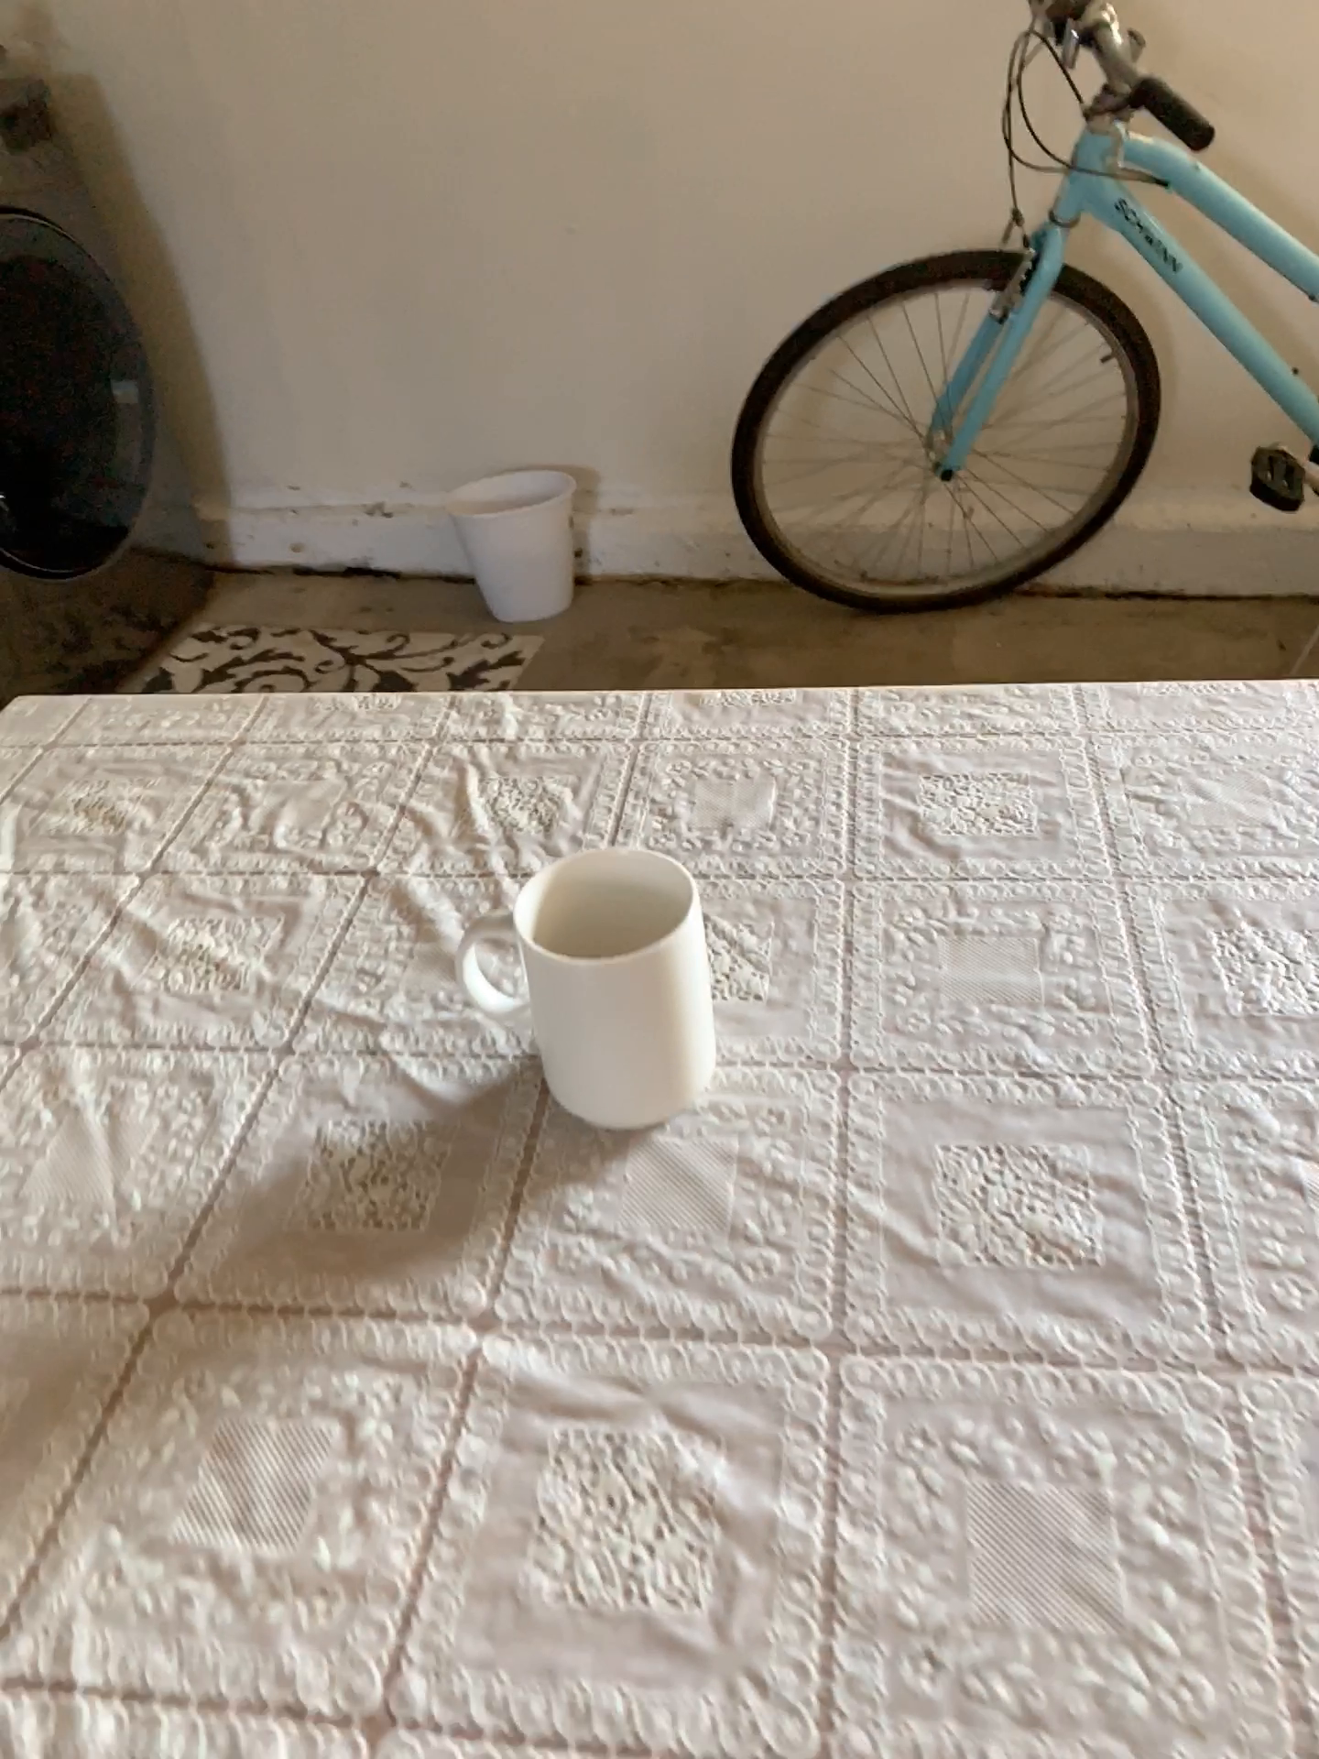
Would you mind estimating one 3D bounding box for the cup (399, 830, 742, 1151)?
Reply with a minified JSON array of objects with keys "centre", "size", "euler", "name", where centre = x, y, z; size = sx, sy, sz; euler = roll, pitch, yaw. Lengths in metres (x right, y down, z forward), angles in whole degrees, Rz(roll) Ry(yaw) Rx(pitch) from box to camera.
[{"centre":[-0.036,0.048,0.623],"size":[0.120,0.090,0.090],"euler":[10,42,21],"name":"cup"}]
